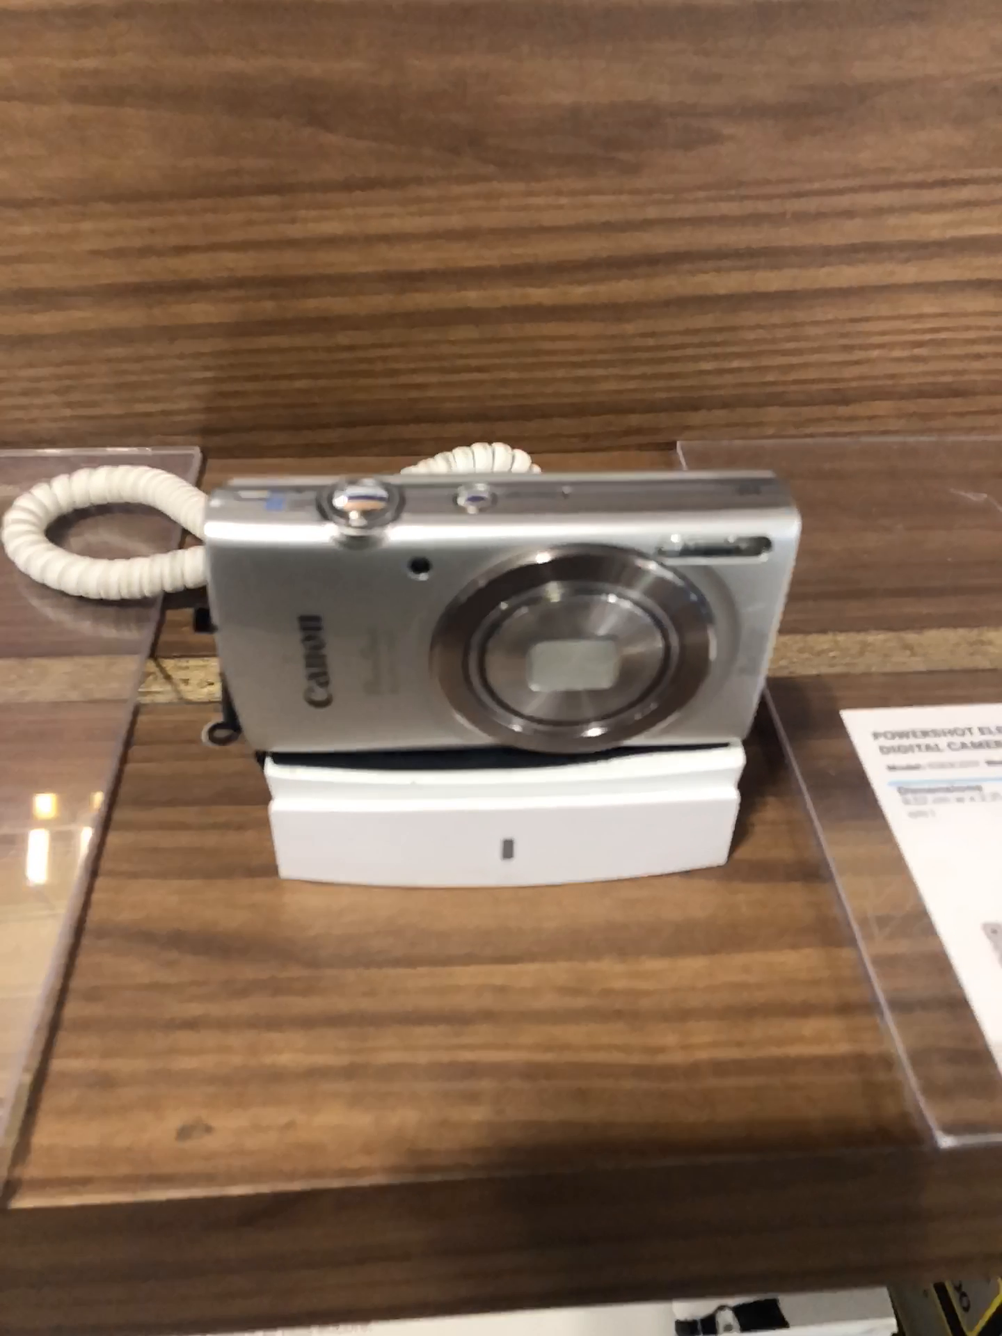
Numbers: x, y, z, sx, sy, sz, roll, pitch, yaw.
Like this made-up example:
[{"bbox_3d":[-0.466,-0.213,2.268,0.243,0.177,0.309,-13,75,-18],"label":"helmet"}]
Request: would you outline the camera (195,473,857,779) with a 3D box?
[{"bbox_3d":[0.004,-0.006,0.191,0.100,0.050,0.020,-1,43,-2],"label":"camera"}]
